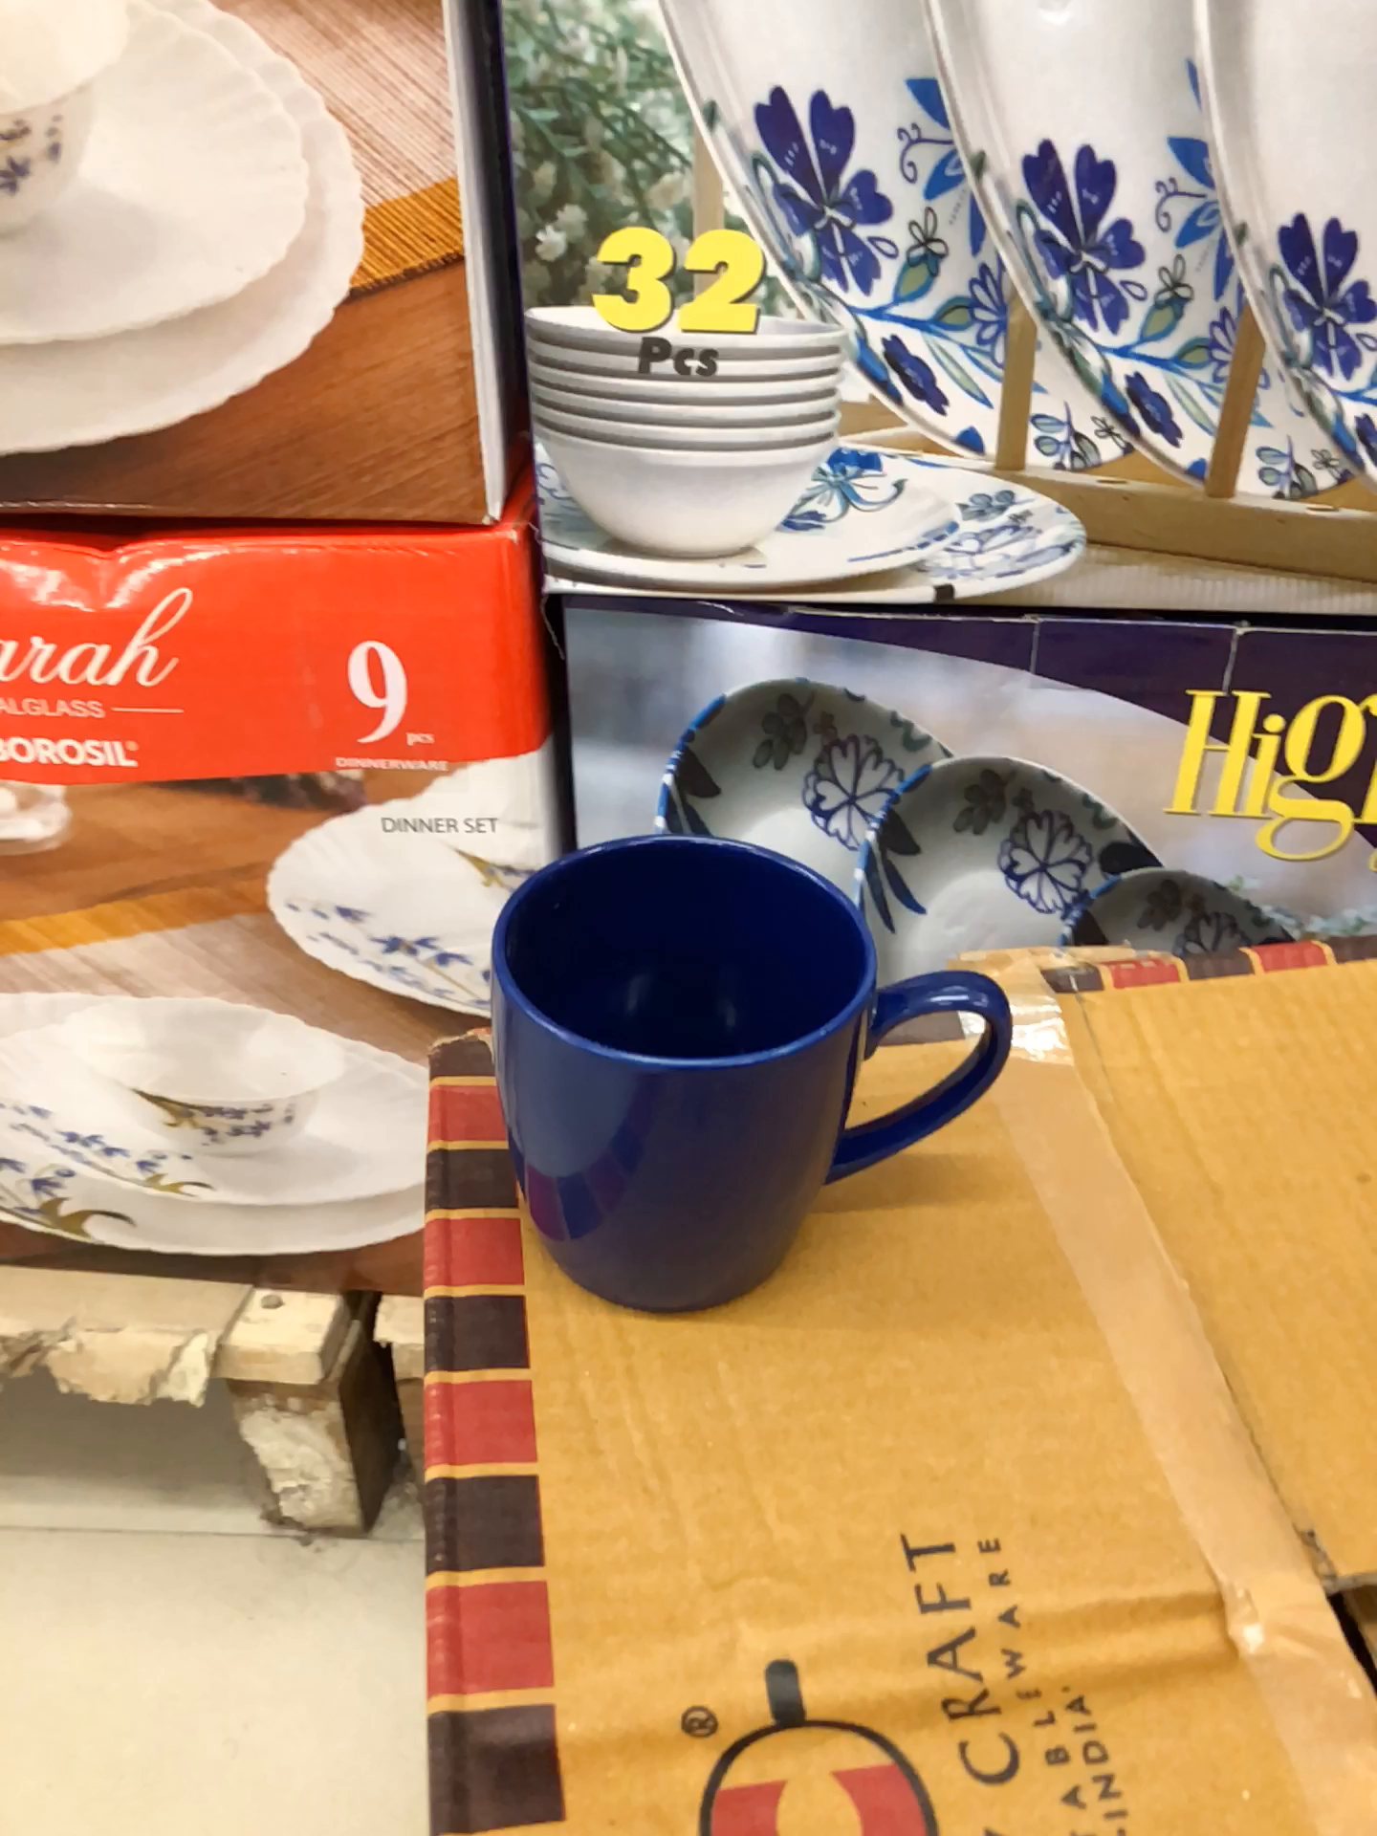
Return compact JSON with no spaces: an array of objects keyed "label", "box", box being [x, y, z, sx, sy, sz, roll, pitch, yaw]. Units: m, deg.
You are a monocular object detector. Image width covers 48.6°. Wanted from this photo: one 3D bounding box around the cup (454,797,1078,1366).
[{"label":"cup","box":[0.012,0.030,0.296,0.100,0.079,0.070,-2,35,-2]}]
